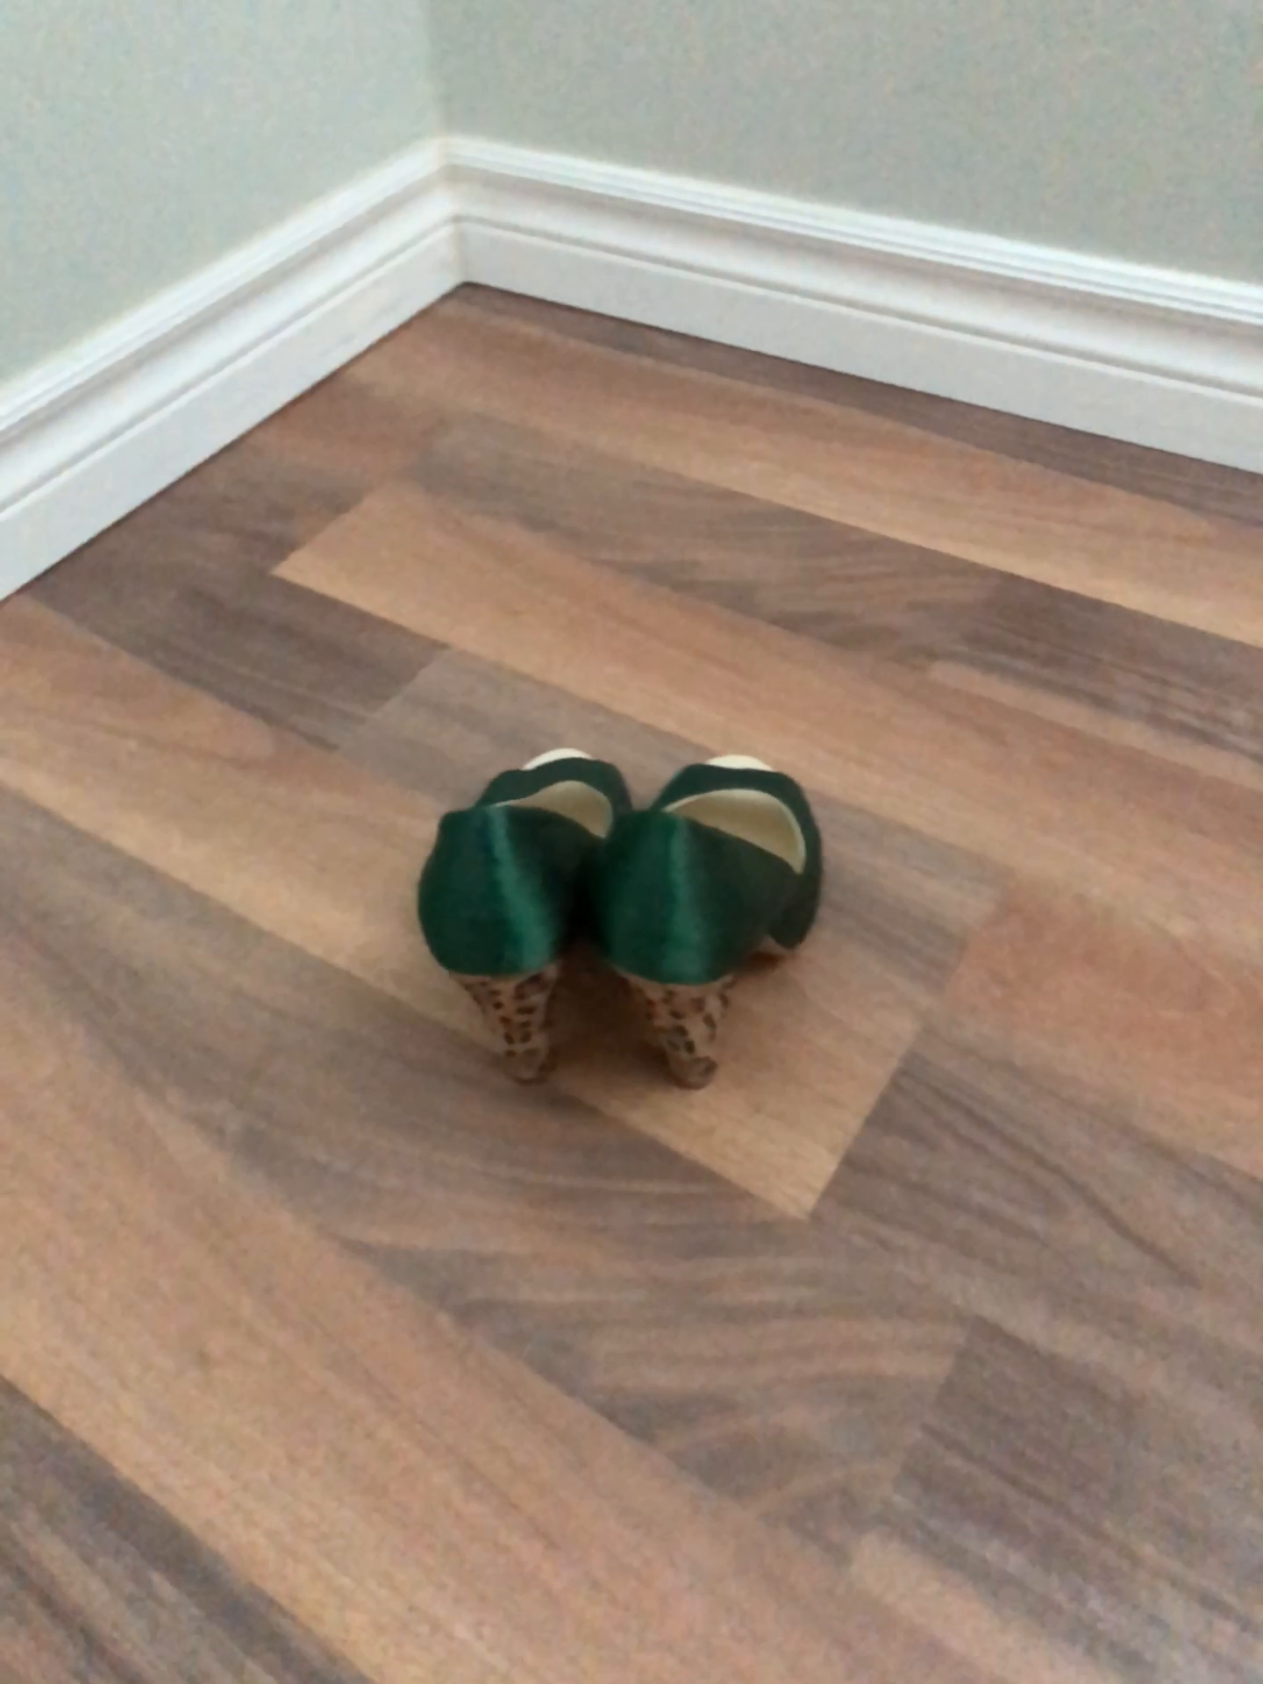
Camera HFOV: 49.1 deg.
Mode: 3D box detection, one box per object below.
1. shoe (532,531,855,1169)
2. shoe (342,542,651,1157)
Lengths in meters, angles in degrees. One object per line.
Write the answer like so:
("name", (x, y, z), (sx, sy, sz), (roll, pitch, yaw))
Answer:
("shoe", (0.034, -0.004, 0.537), (0.090, 0.129, 0.211), (4, 48, 9))
("shoe", (-0.043, -0.002, 0.555), (0.090, 0.129, 0.211), (-3, 47, 3))
